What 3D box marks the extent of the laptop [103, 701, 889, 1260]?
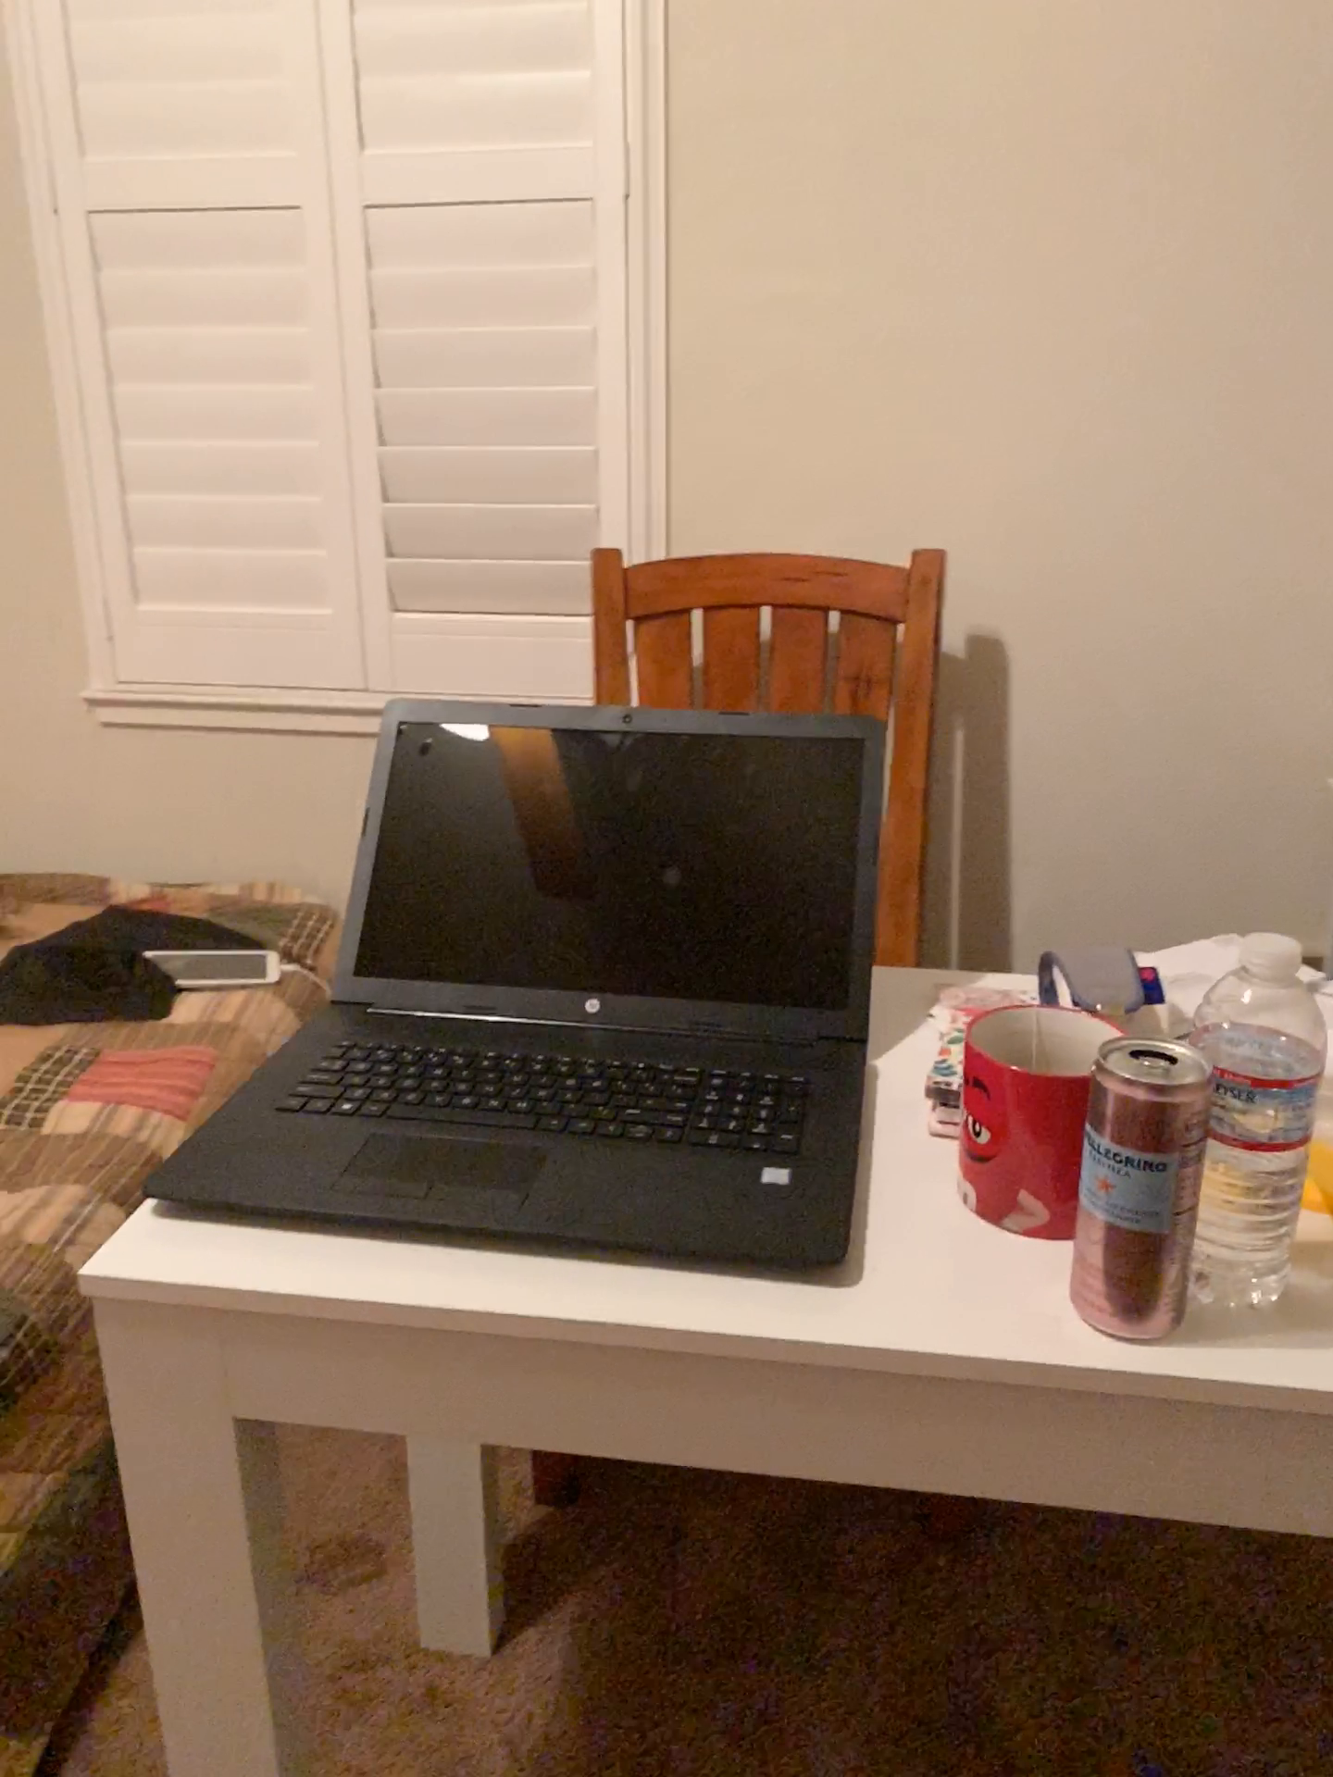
[{"bbox_3d":[-0.065,0.021,0.915,0.400,0.197,0.418,3,20,10],"label":"laptop"}]
